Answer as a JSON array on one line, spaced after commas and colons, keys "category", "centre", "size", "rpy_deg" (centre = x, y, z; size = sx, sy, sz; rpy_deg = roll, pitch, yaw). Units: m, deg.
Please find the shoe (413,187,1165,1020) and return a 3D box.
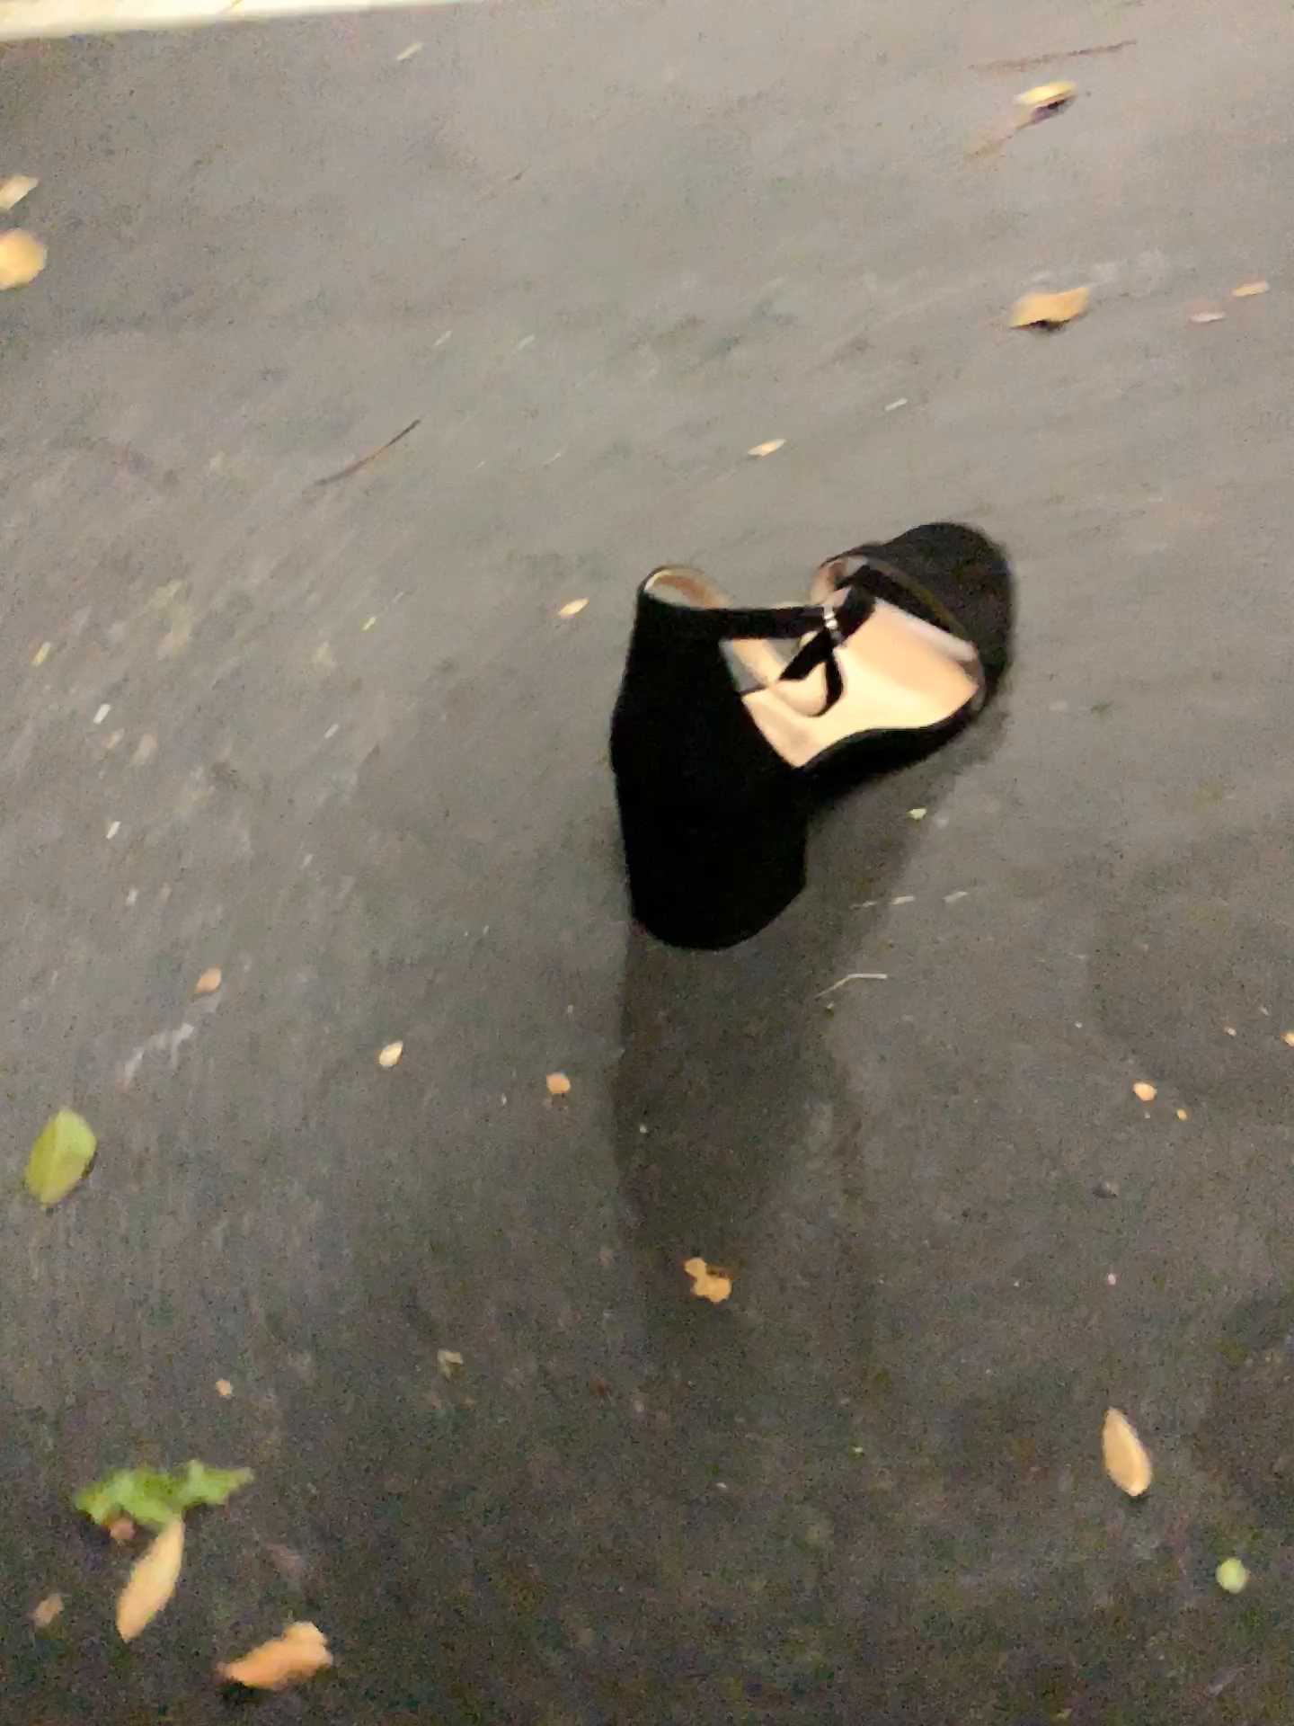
[{"category": "shoe", "centre": [0.066, -0.105, 0.519], "size": [0.120, 0.140, 0.270], "rpy_deg": [24, 59, 28]}]
